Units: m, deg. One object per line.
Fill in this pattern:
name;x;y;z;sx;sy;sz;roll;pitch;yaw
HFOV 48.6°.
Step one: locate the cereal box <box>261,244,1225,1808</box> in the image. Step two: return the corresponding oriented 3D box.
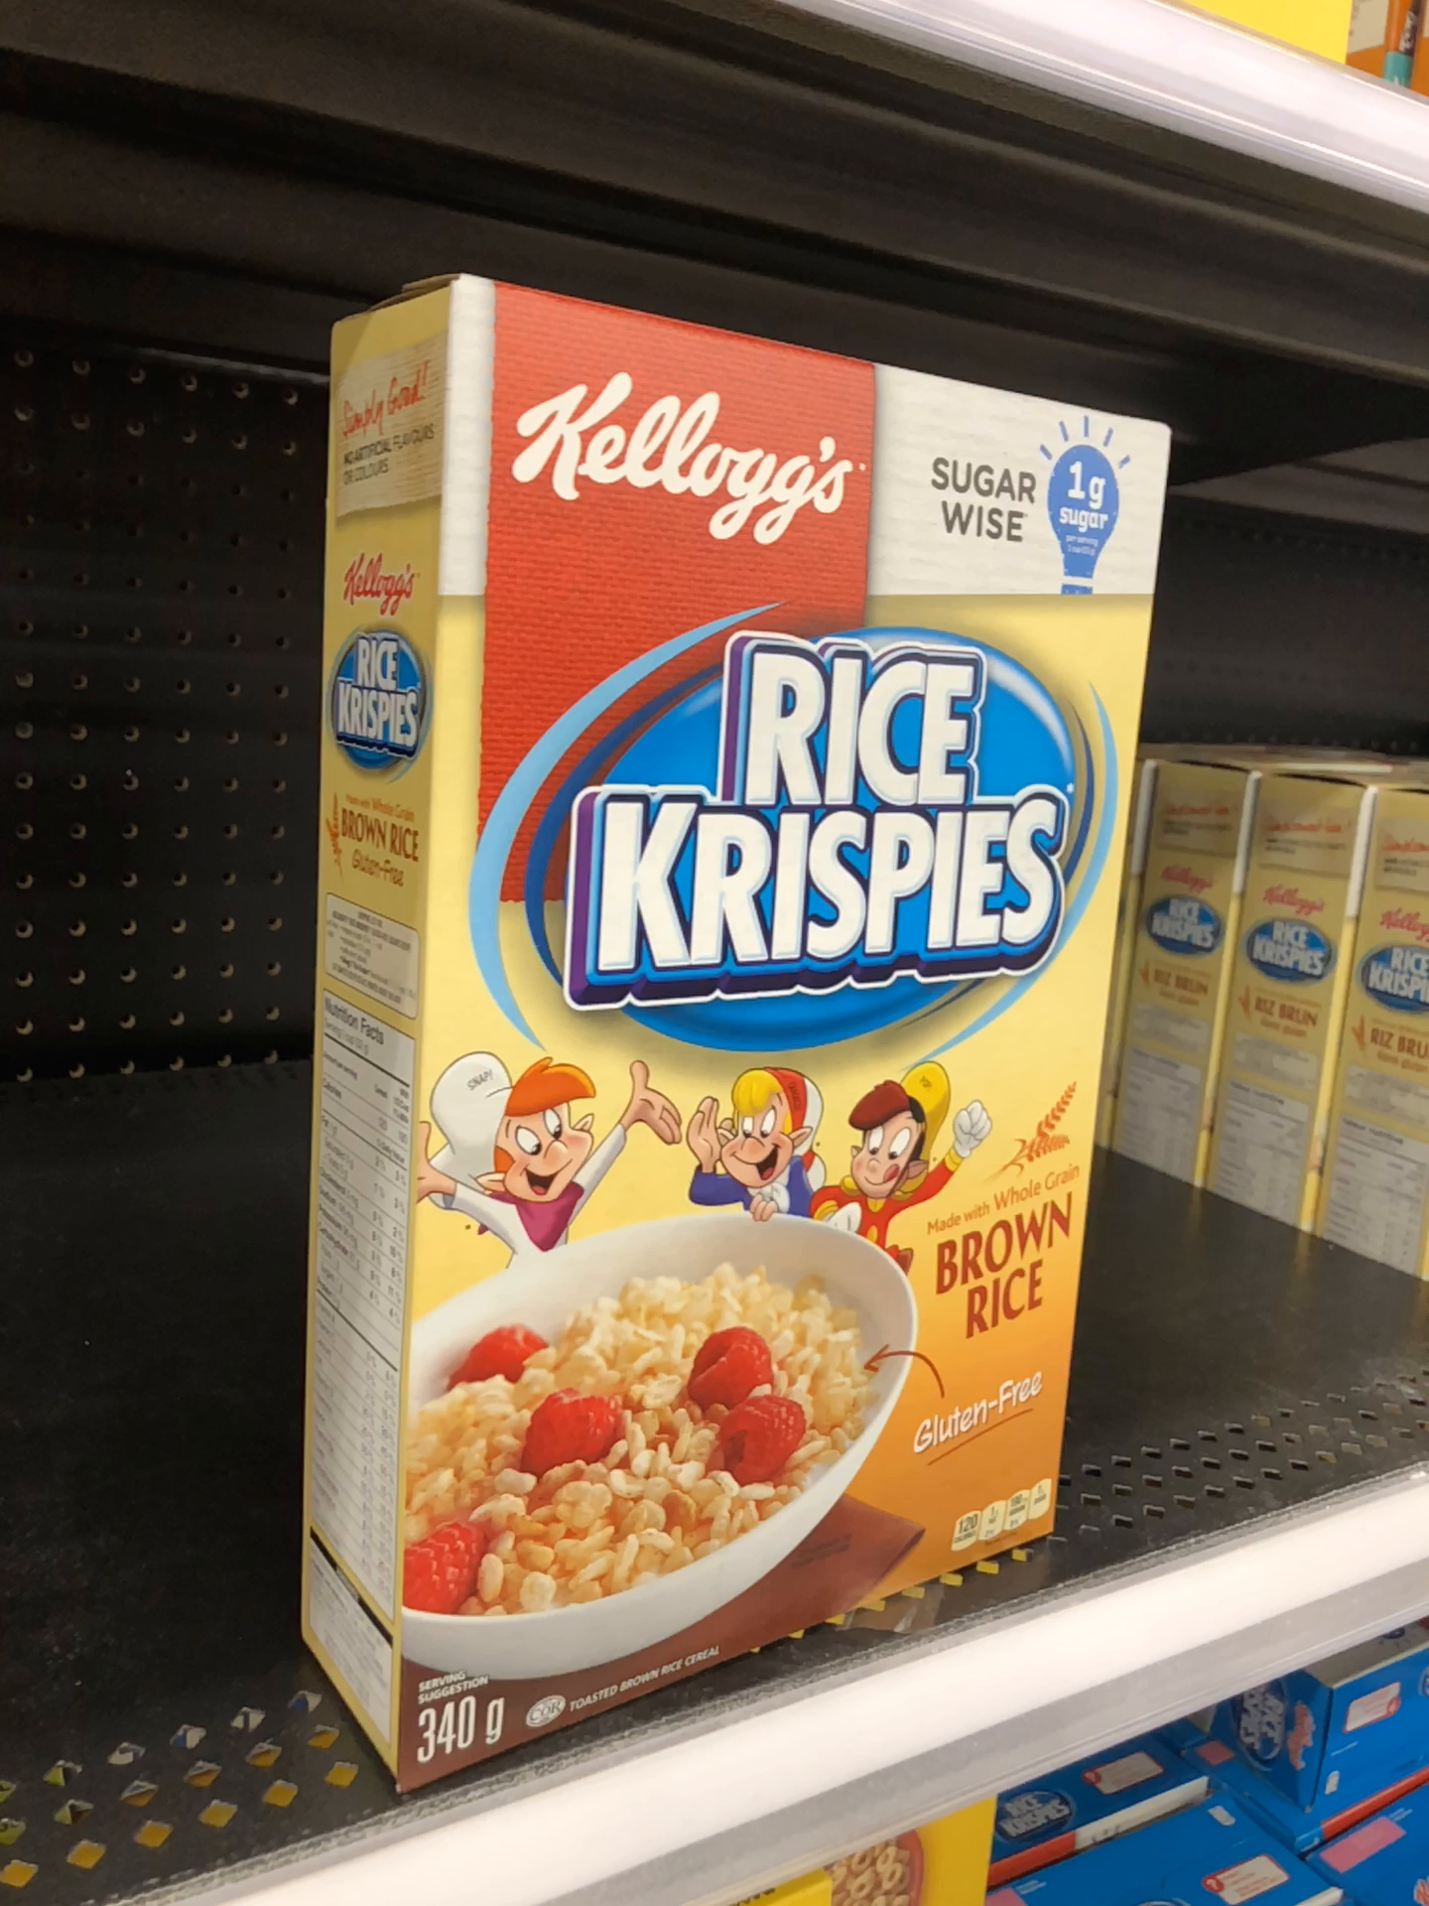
cereal box;0.011;0.014;0.370;0.210;0.289;0.060;-4;13;-36
